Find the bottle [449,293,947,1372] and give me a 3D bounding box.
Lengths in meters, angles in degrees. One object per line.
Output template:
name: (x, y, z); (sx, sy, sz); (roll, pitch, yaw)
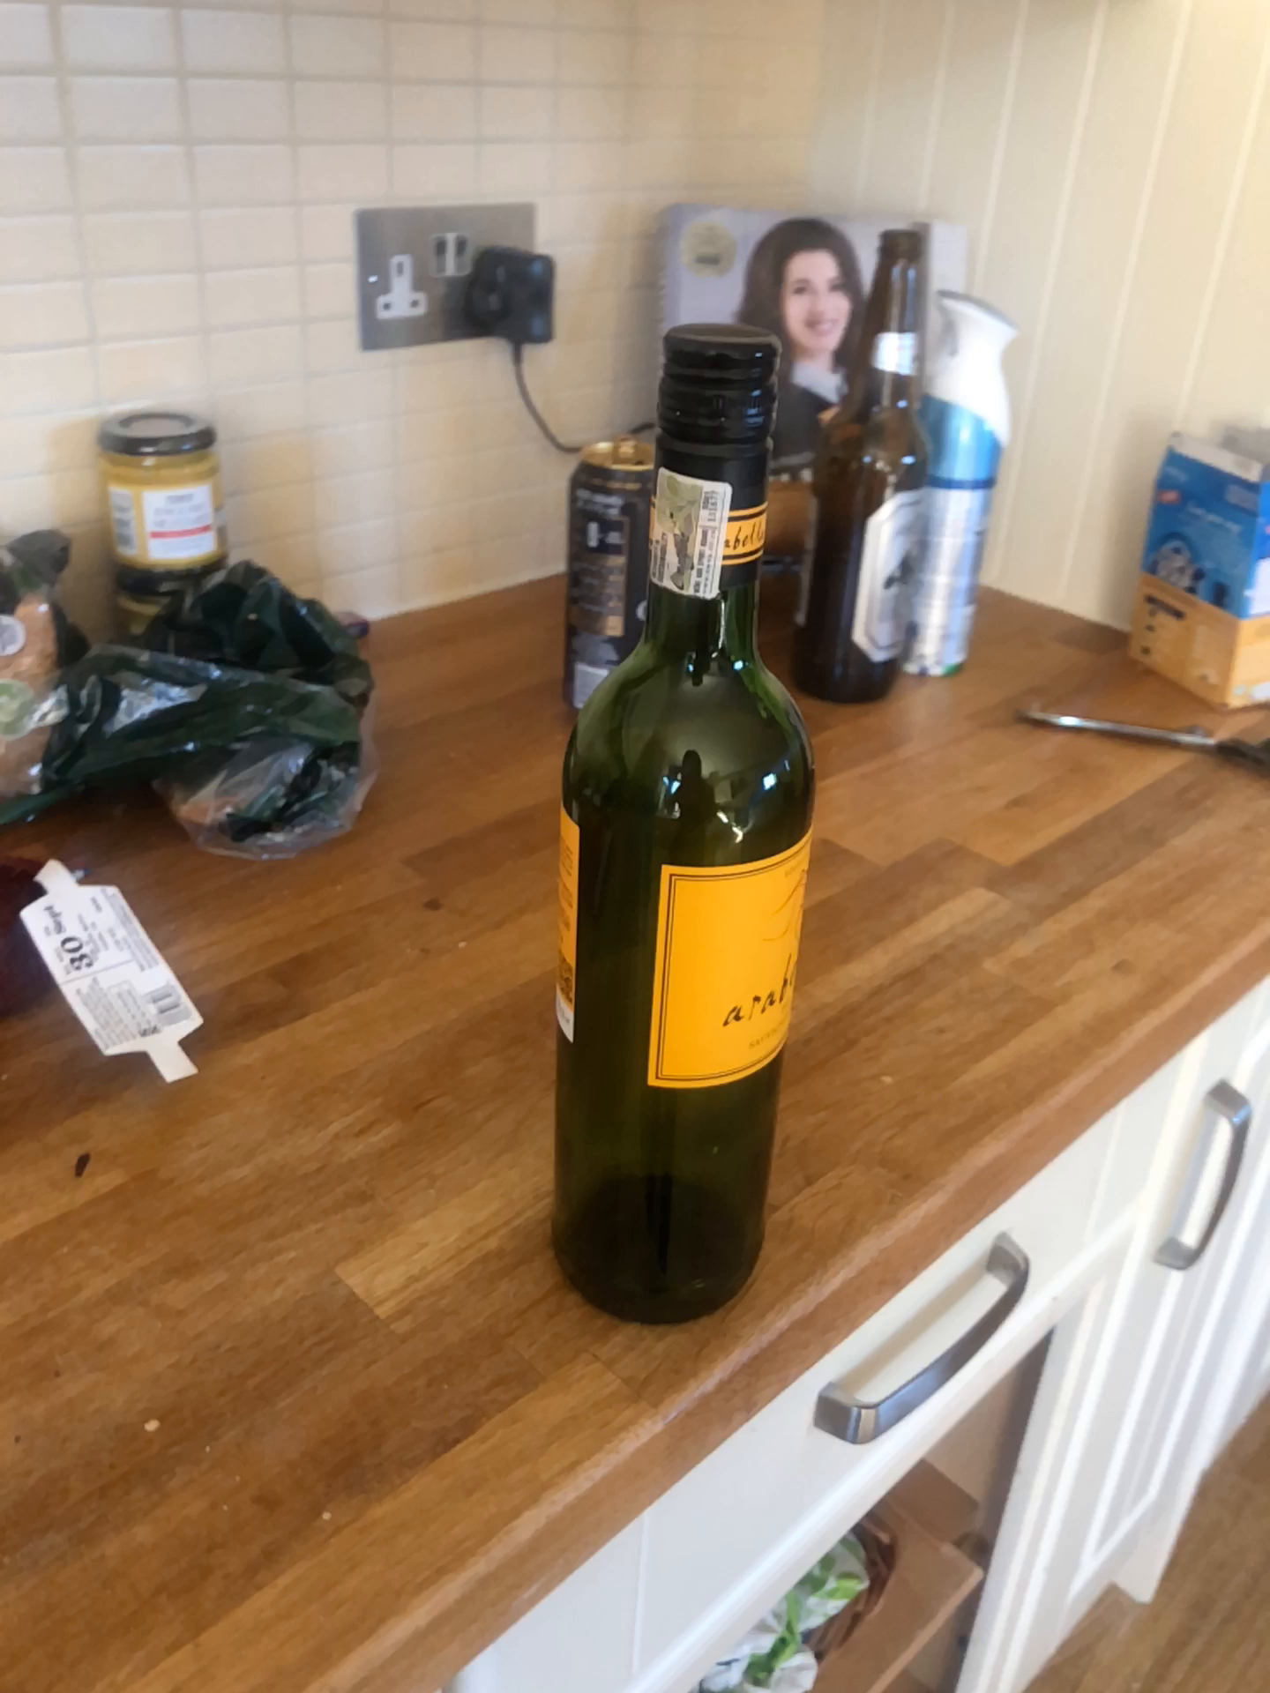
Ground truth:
bottle: (0.010, 0.003, 0.422); (0.090, 0.298, 0.091); (3, 29, -1)
